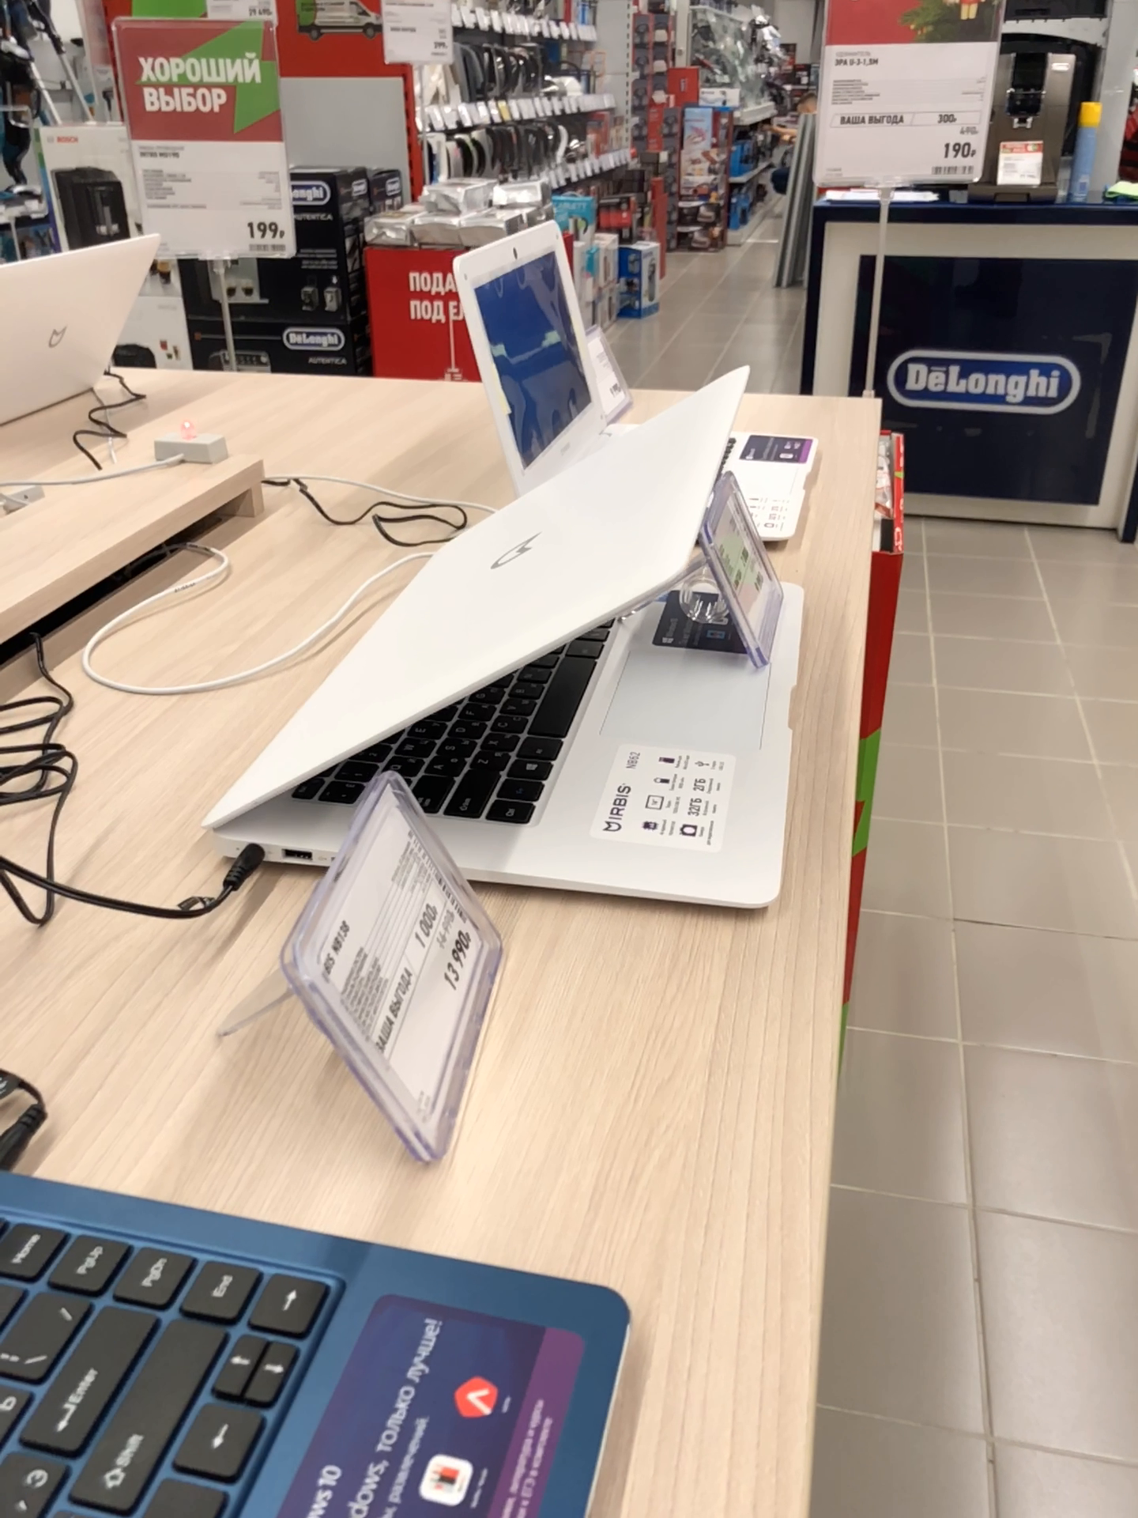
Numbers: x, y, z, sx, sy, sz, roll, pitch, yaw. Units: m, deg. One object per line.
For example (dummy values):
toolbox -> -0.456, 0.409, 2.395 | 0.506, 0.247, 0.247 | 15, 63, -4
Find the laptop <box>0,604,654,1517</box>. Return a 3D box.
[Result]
laptop -> -0.174, 0.117, 0.169 | 0.318, 0.162, 0.311 | 5, 27, 11

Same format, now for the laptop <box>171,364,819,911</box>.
laptop -> 0.001, -0.090, 0.607 | 0.223, 0.115, 0.352 | 7, 29, 9

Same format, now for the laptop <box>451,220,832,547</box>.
laptop -> 0.066, -0.296, 0.943 | 0.230, 0.168, 0.264 | 7, 30, 13
